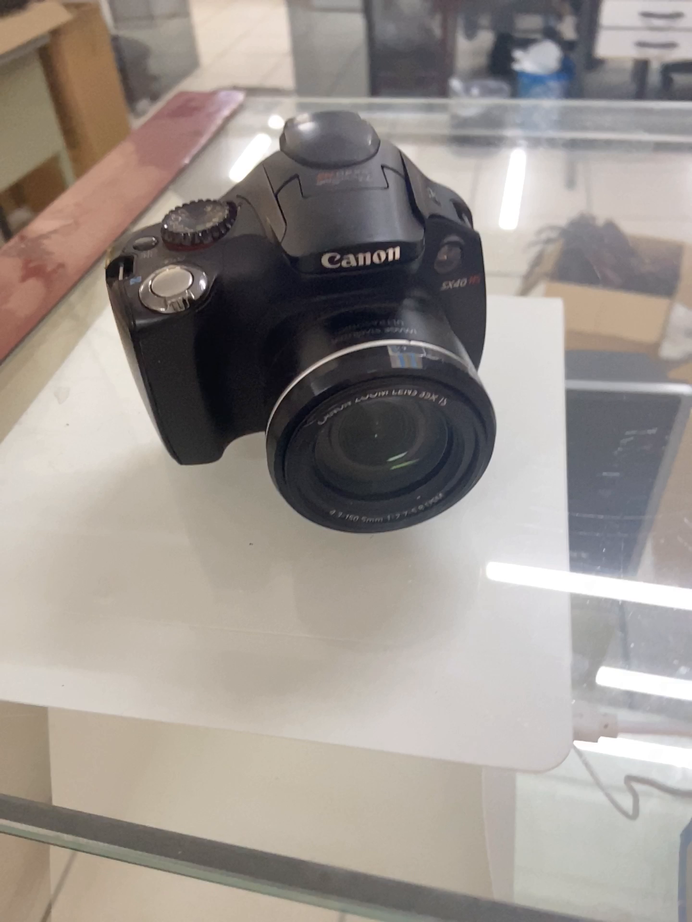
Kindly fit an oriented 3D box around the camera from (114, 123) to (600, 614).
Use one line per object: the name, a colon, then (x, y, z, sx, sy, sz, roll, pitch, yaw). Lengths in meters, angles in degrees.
camera: (-0.007, -0.042, 0.255, 0.120, 0.089, 0.141, -11, 43, -7)
